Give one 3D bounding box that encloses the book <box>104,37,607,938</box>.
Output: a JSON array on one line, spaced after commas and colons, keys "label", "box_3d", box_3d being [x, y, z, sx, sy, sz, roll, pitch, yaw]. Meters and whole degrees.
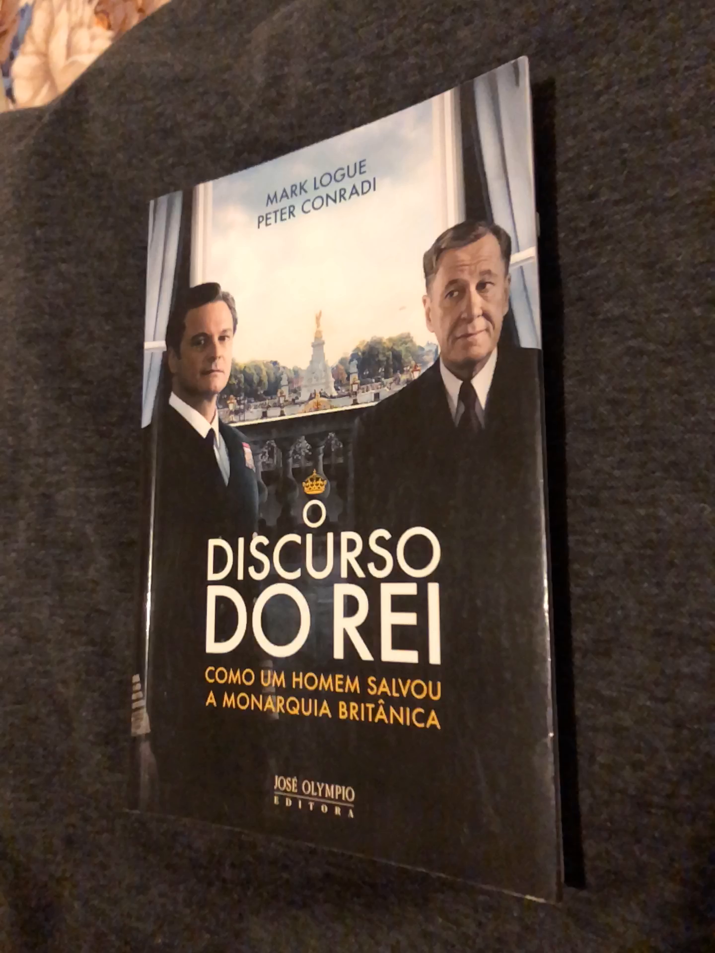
[{"label": "book", "box_3d": [-0.009, 0.000, 0.255, 0.161, 0.030, 0.230, -5, 79, 33]}]
